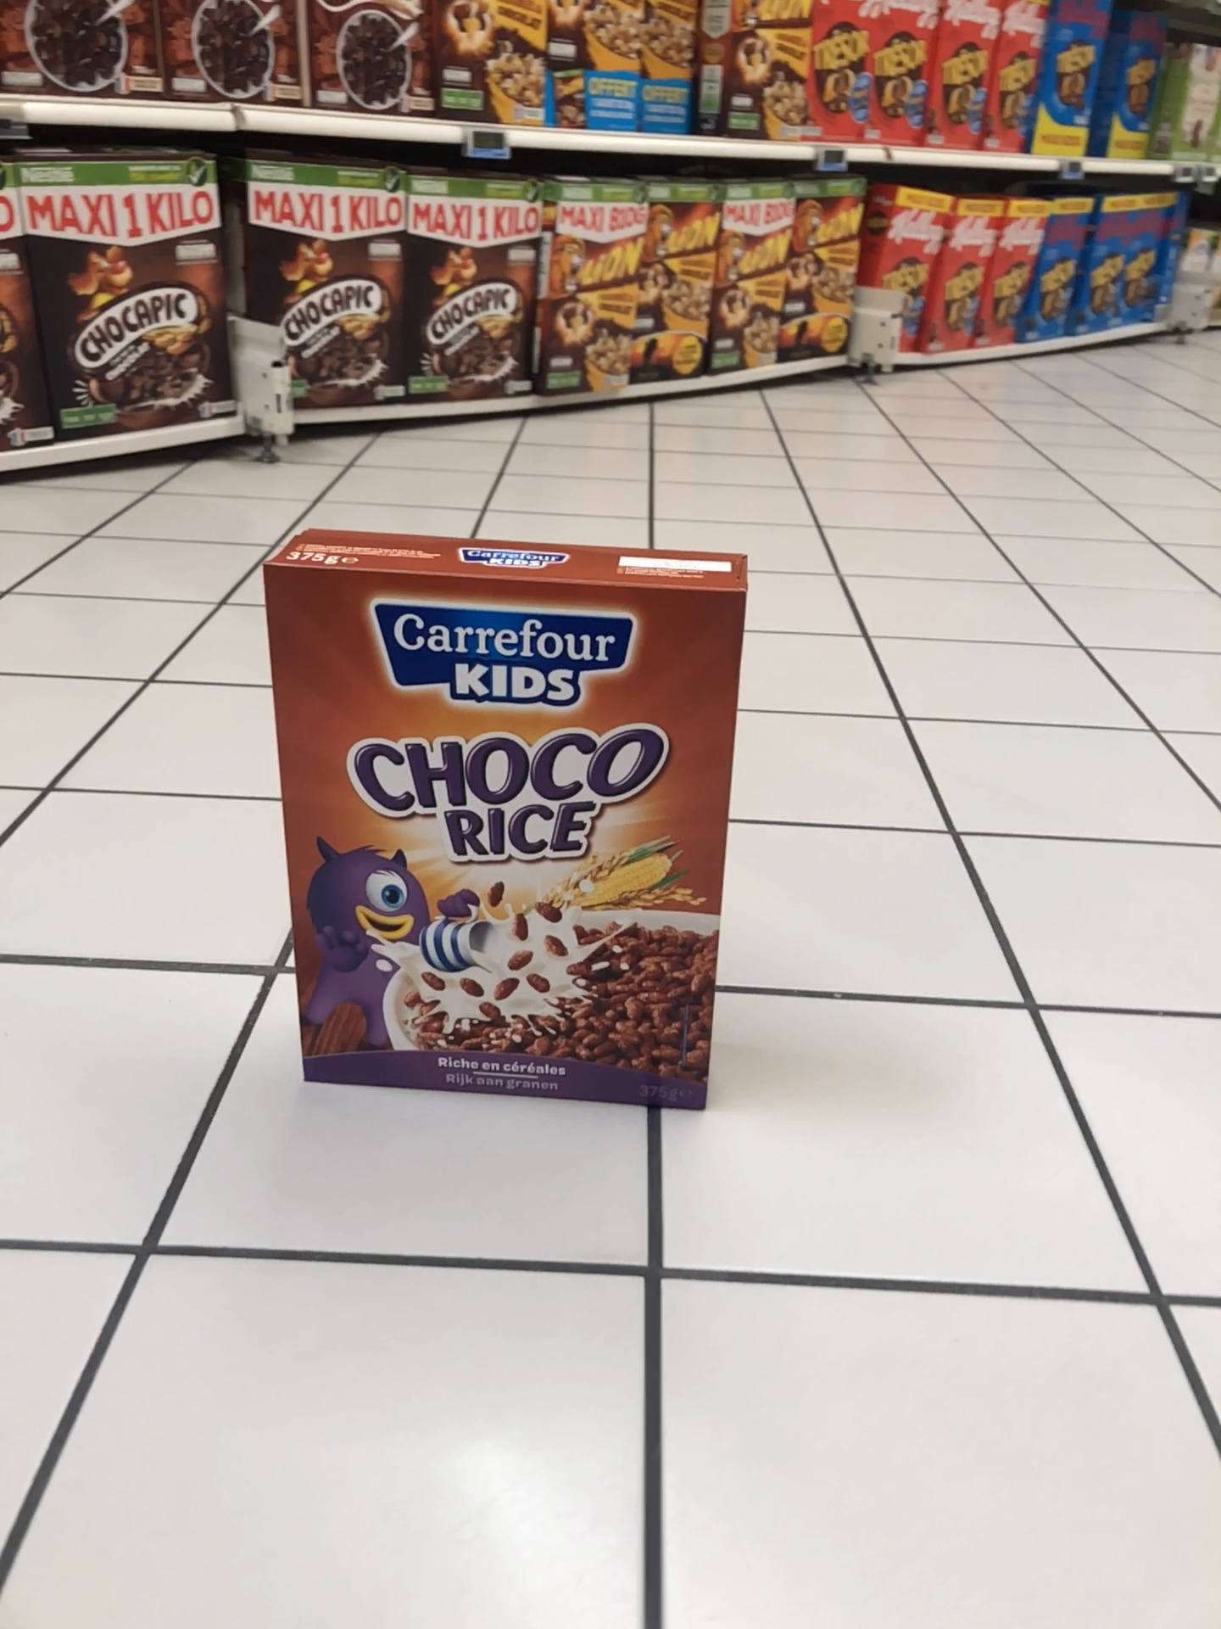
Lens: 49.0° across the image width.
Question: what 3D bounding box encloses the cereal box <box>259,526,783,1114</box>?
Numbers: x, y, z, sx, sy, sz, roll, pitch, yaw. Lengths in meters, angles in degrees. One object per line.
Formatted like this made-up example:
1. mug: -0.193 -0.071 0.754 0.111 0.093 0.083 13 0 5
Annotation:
1. cereal box: -0.036 0.006 0.590 0.200 0.239 0.070 4 26 3
